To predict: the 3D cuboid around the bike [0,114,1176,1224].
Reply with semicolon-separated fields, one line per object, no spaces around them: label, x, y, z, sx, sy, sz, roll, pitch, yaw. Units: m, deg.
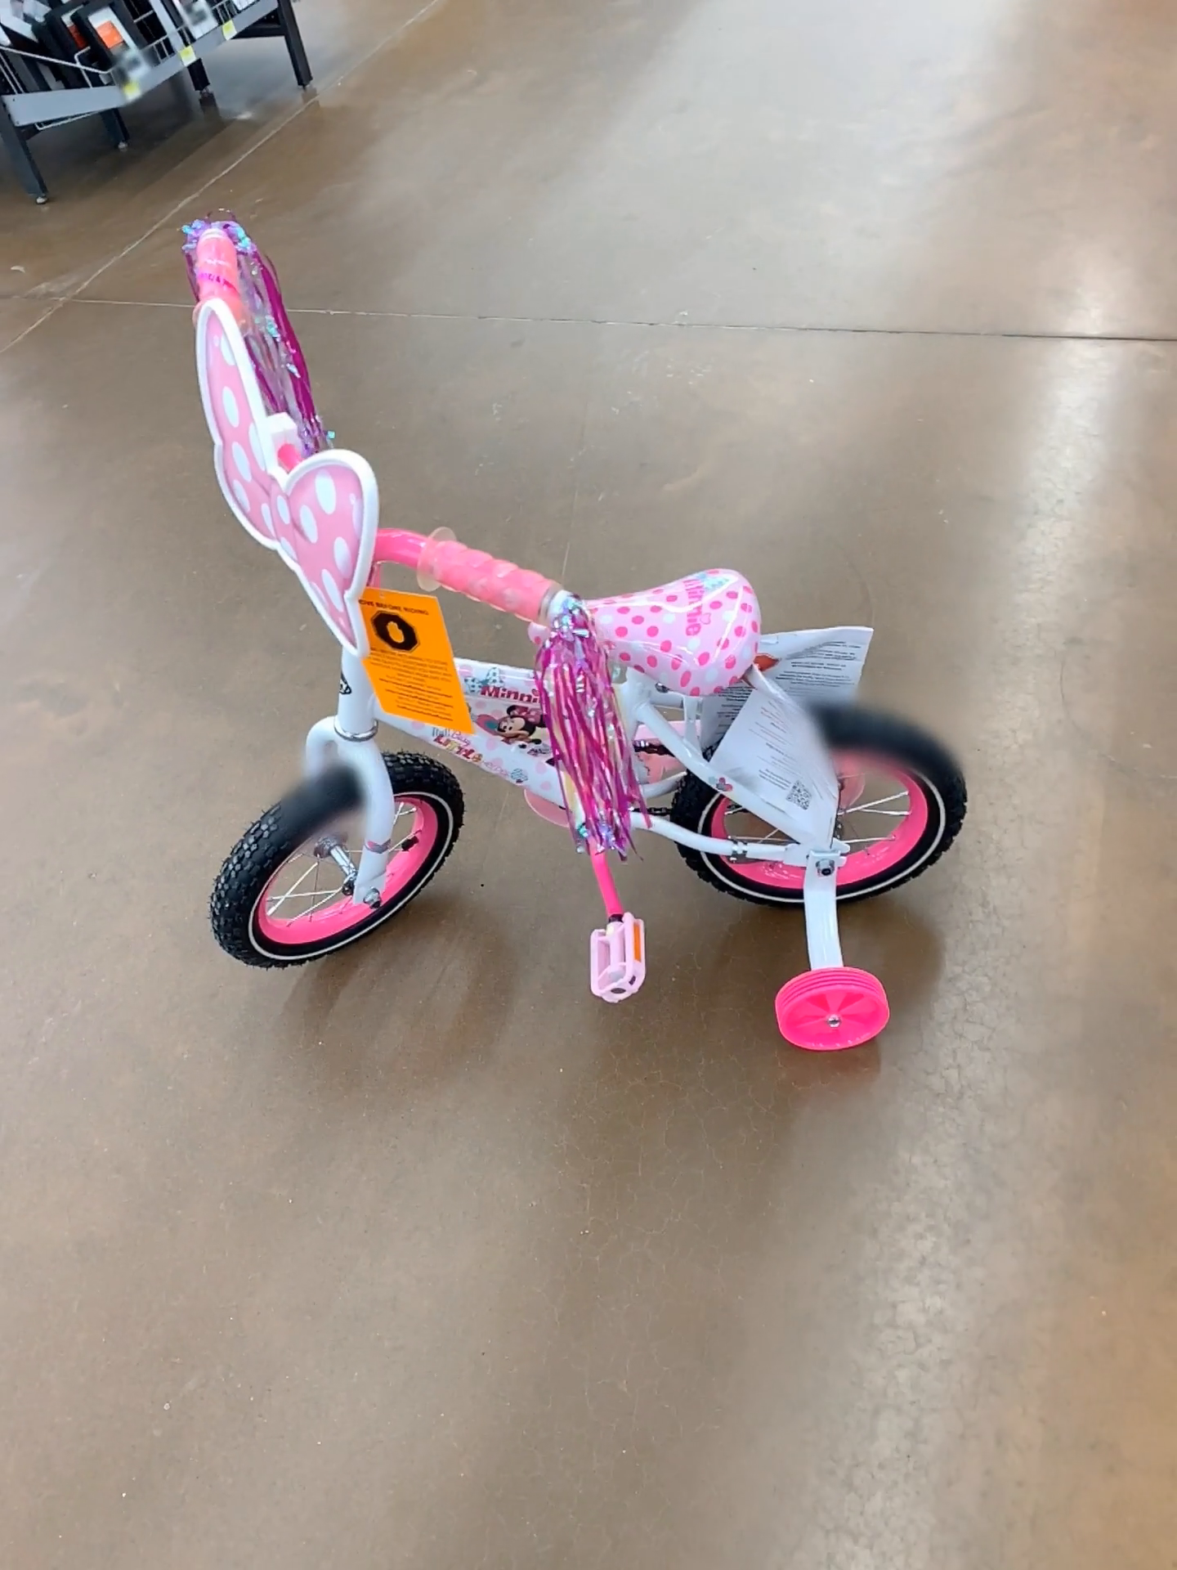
bike;-0.019;-0.056;1.045;0.759;0.750;0.445;-14;46;-3
